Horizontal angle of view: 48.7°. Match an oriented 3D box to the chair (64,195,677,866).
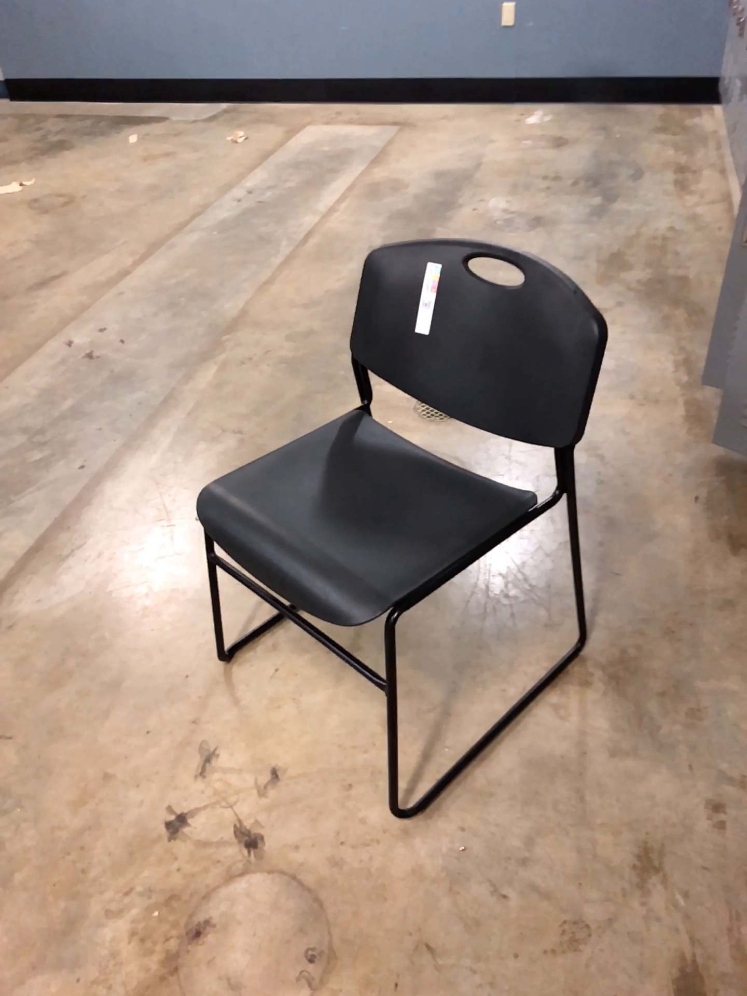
[{"bbox_3d":[0.011,0.008,1.240,0.547,0.665,0.545,-33,46,-31],"label":"chair"}]
